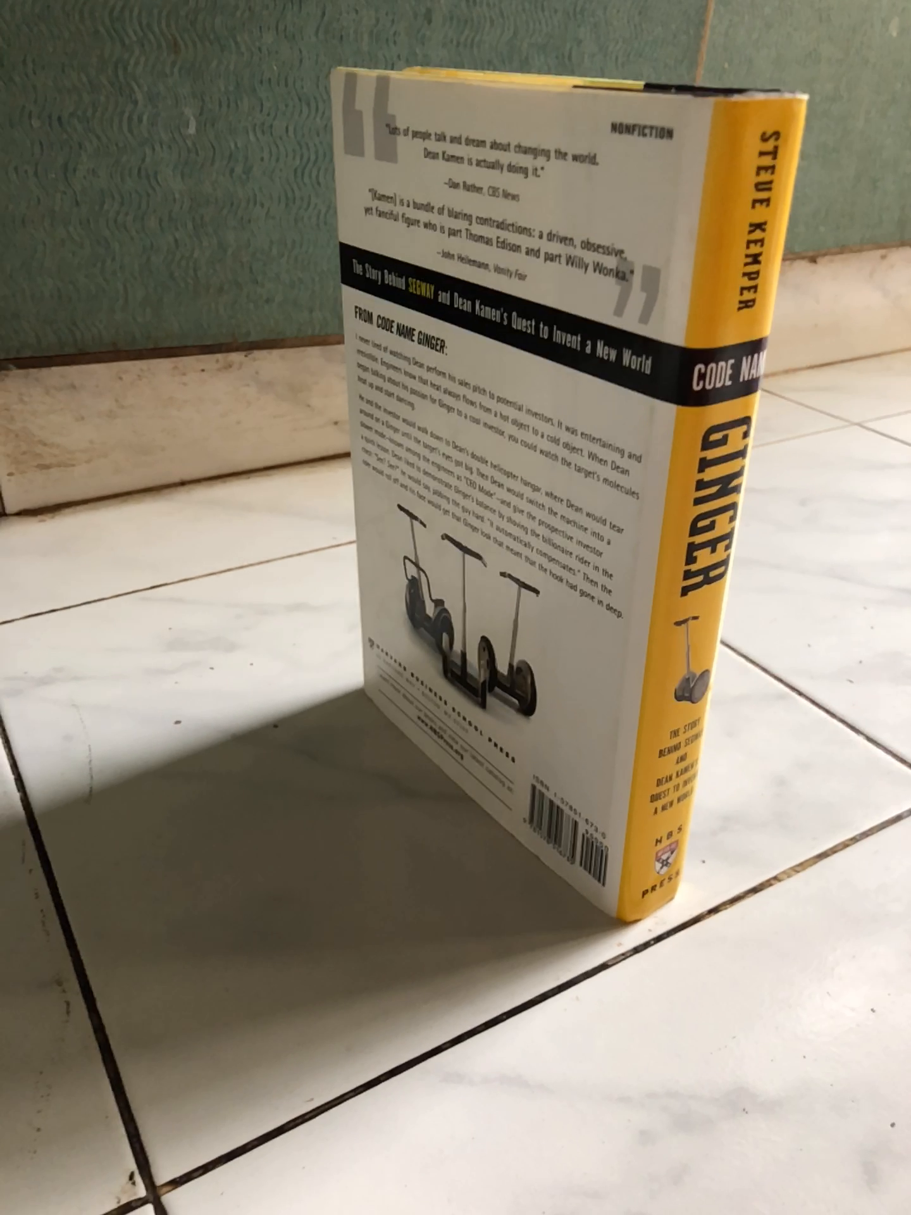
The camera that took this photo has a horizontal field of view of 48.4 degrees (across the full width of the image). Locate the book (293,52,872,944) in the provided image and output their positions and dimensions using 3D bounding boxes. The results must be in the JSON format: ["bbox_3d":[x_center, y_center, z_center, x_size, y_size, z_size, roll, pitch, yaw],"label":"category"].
[{"bbox_3d":[0.017,-0.044,0.334,0.040,0.239,0.190,-19,35,-30],"label":"book"}]
